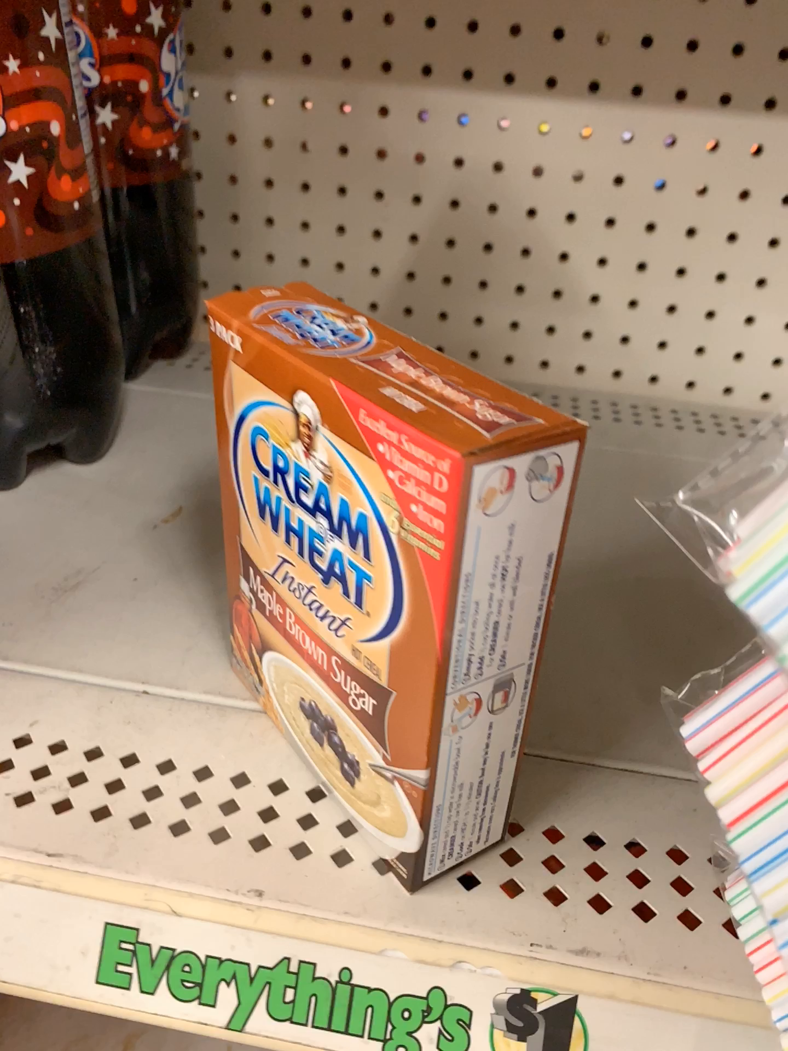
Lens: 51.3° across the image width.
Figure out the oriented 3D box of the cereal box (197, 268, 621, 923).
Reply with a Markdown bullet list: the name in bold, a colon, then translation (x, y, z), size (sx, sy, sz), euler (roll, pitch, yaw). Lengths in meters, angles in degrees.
- **cereal box**: translation (-0.008, 0.017, 0.244), size (0.040, 0.149, 0.120), euler (-20, 40, -32)
